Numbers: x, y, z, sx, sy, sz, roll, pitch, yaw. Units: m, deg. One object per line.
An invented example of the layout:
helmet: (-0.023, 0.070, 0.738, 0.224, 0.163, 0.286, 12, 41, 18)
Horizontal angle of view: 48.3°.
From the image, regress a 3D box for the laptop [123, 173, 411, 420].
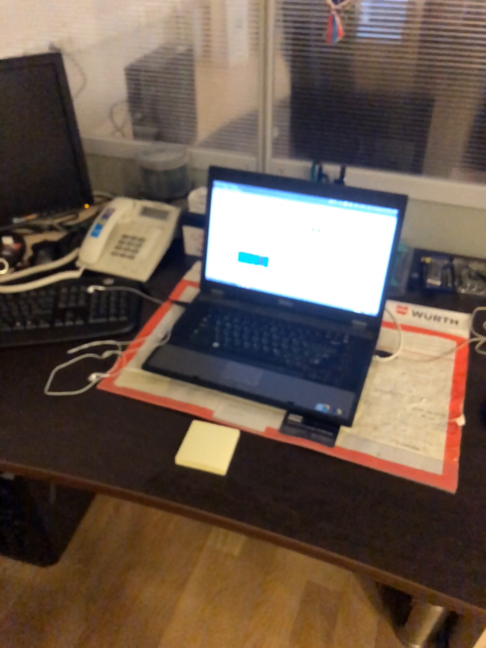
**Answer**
laptop: (0.047, -0.058, 0.801, 0.317, 0.209, 0.257, 13, 40, 17)
